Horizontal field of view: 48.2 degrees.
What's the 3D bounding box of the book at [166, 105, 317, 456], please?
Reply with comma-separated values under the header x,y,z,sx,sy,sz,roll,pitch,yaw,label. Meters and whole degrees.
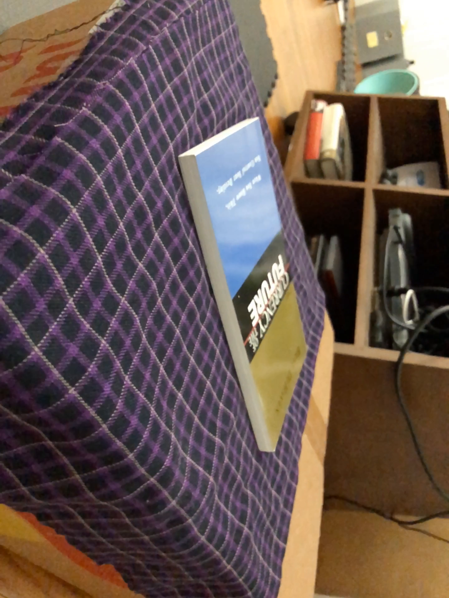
x,y,z,sx,sy,sz,roll,pitch,yaw,label
0.028,-0.020,0.378,0.151,0.020,0.220,-55,135,-57,book
